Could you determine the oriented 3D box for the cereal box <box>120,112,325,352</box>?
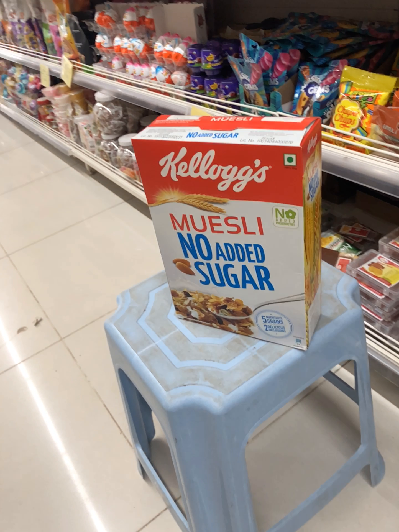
[{"bbox_3d":[0.039,-0.036,0.509,0.190,0.259,0.070,10,41,27],"label":"cereal box"}]
